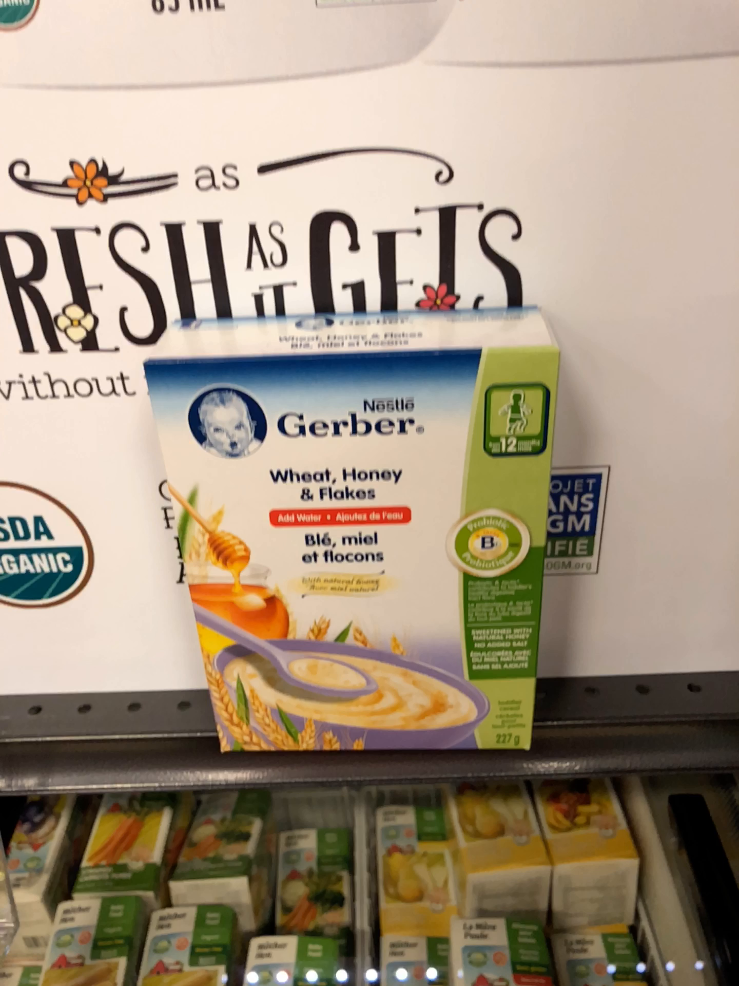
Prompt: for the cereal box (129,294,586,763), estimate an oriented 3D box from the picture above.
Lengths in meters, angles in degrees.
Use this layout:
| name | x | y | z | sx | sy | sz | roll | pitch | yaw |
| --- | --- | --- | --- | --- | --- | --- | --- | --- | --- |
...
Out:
| name | x | y | z | sx | sy | sz | roll | pitch | yaw |
| --- | --- | --- | --- | --- | --- | --- | --- | --- | --- |
| cereal box | 0.001 | 0.025 | 0.345 | 0.150 | 0.199 | 0.050 | -1 | 32 | 3 |
